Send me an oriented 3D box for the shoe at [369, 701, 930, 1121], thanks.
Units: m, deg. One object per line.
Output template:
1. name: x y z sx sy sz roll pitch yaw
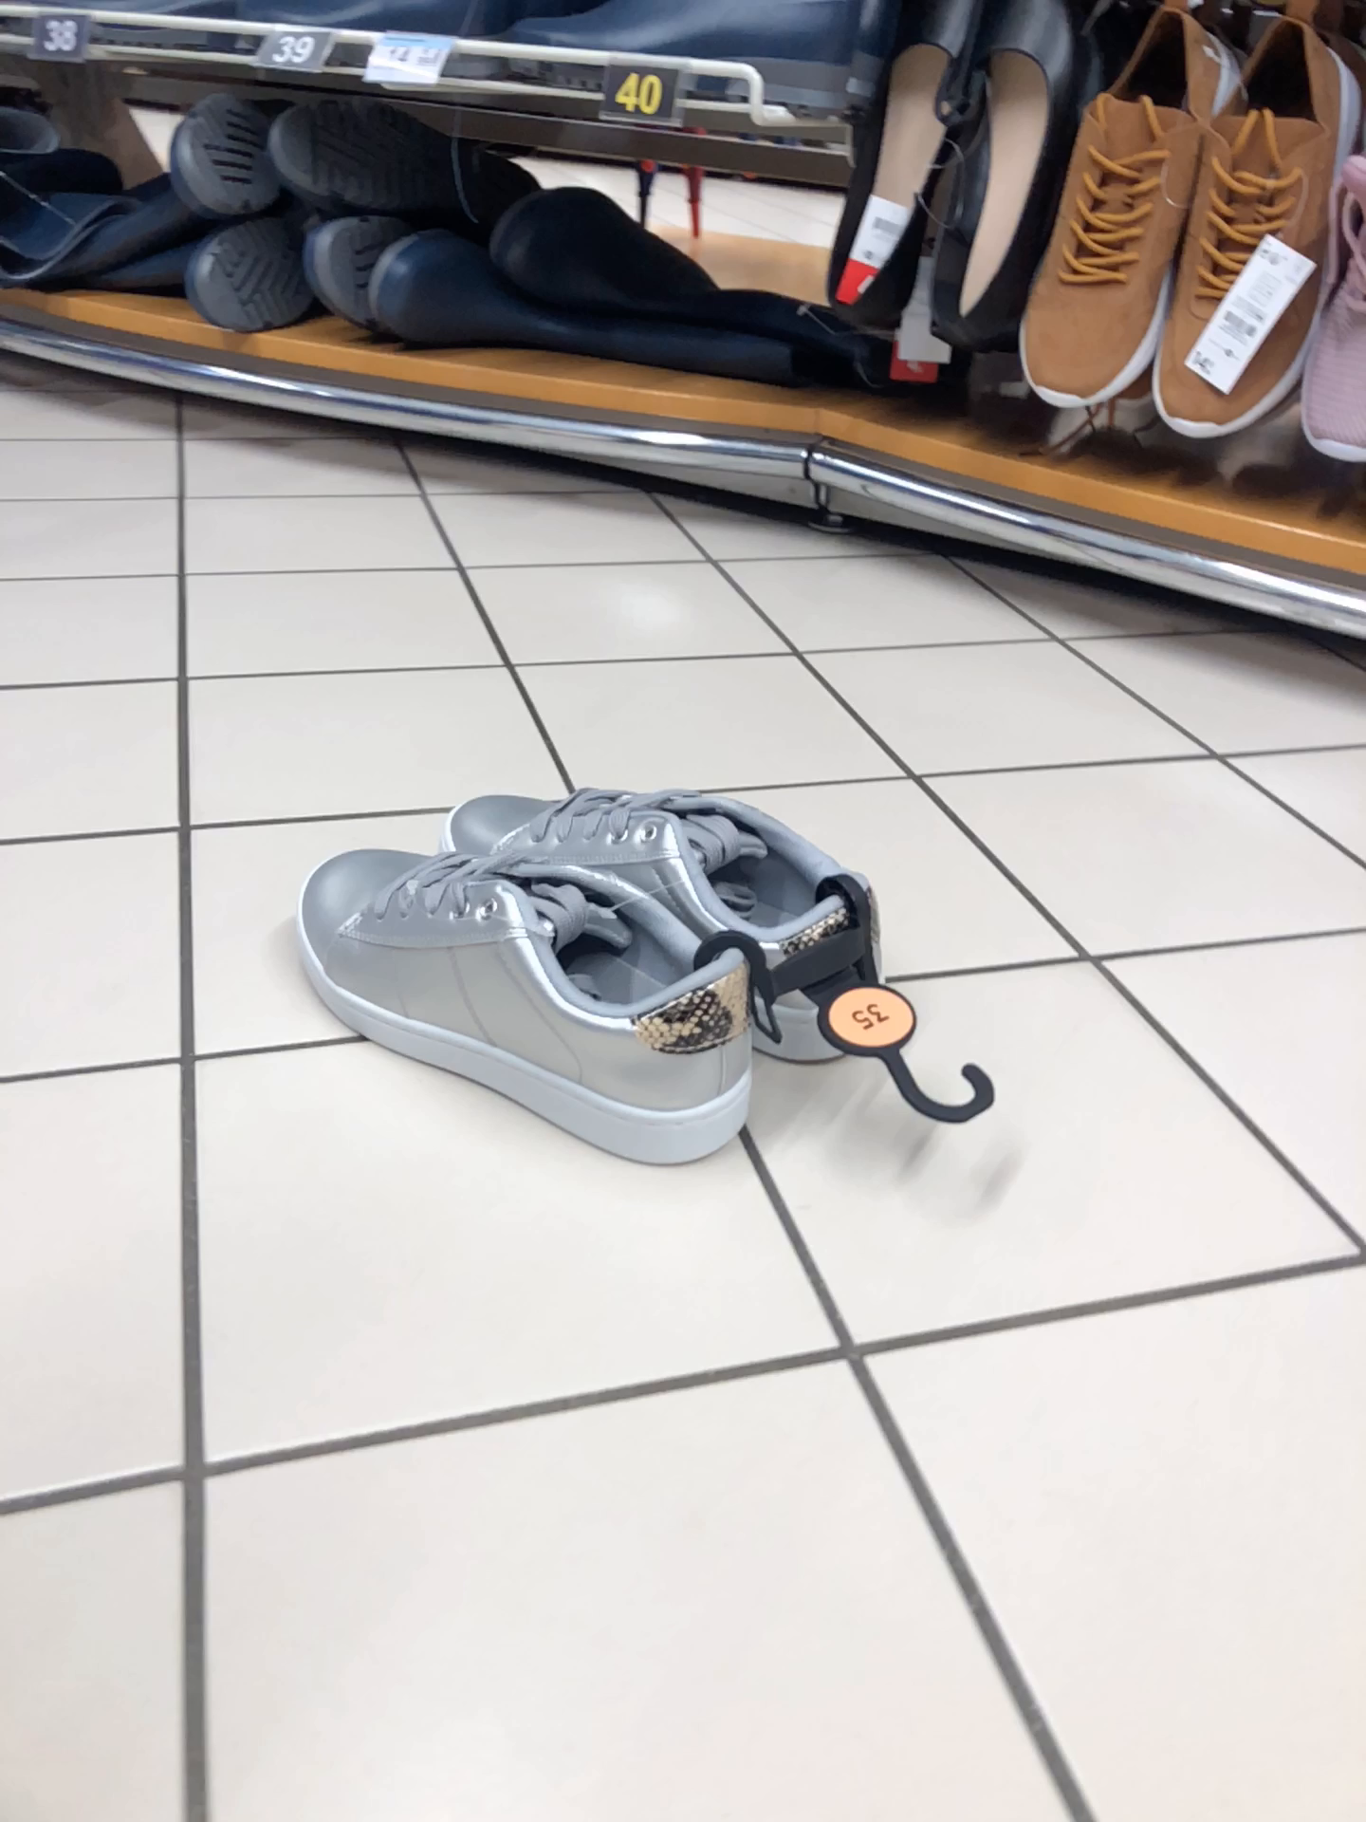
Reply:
1. shoe: -0.020 -0.009 0.664 0.230 0.089 0.091 21 34 26

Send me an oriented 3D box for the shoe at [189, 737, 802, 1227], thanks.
1. shoe: -0.079 0.018 0.595 0.230 0.089 0.091 22 34 28
